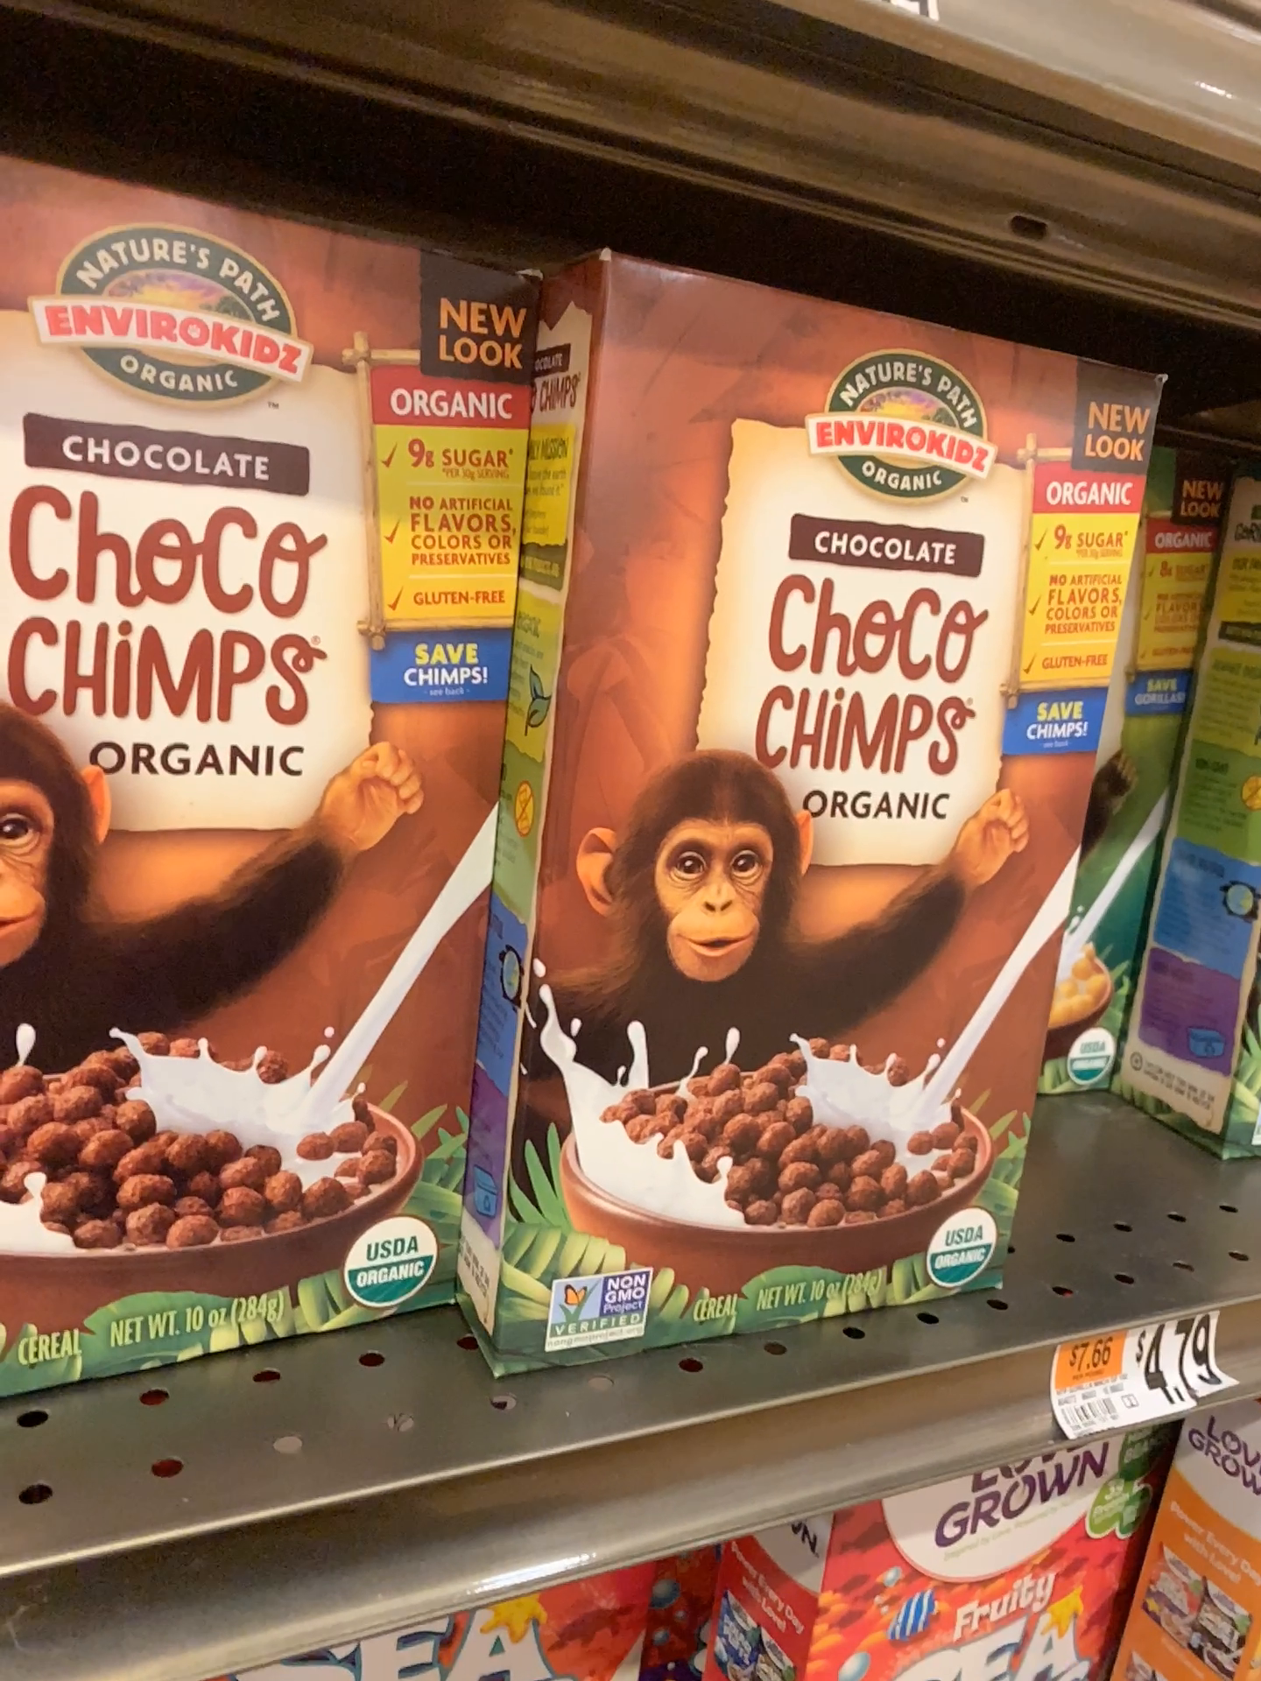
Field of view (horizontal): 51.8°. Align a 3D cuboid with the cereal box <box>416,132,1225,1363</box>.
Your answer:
[{"bbox_3d":[0.046,-0.014,0.344,0.170,0.269,0.060,1,13,-26],"label":"cereal box"}]
